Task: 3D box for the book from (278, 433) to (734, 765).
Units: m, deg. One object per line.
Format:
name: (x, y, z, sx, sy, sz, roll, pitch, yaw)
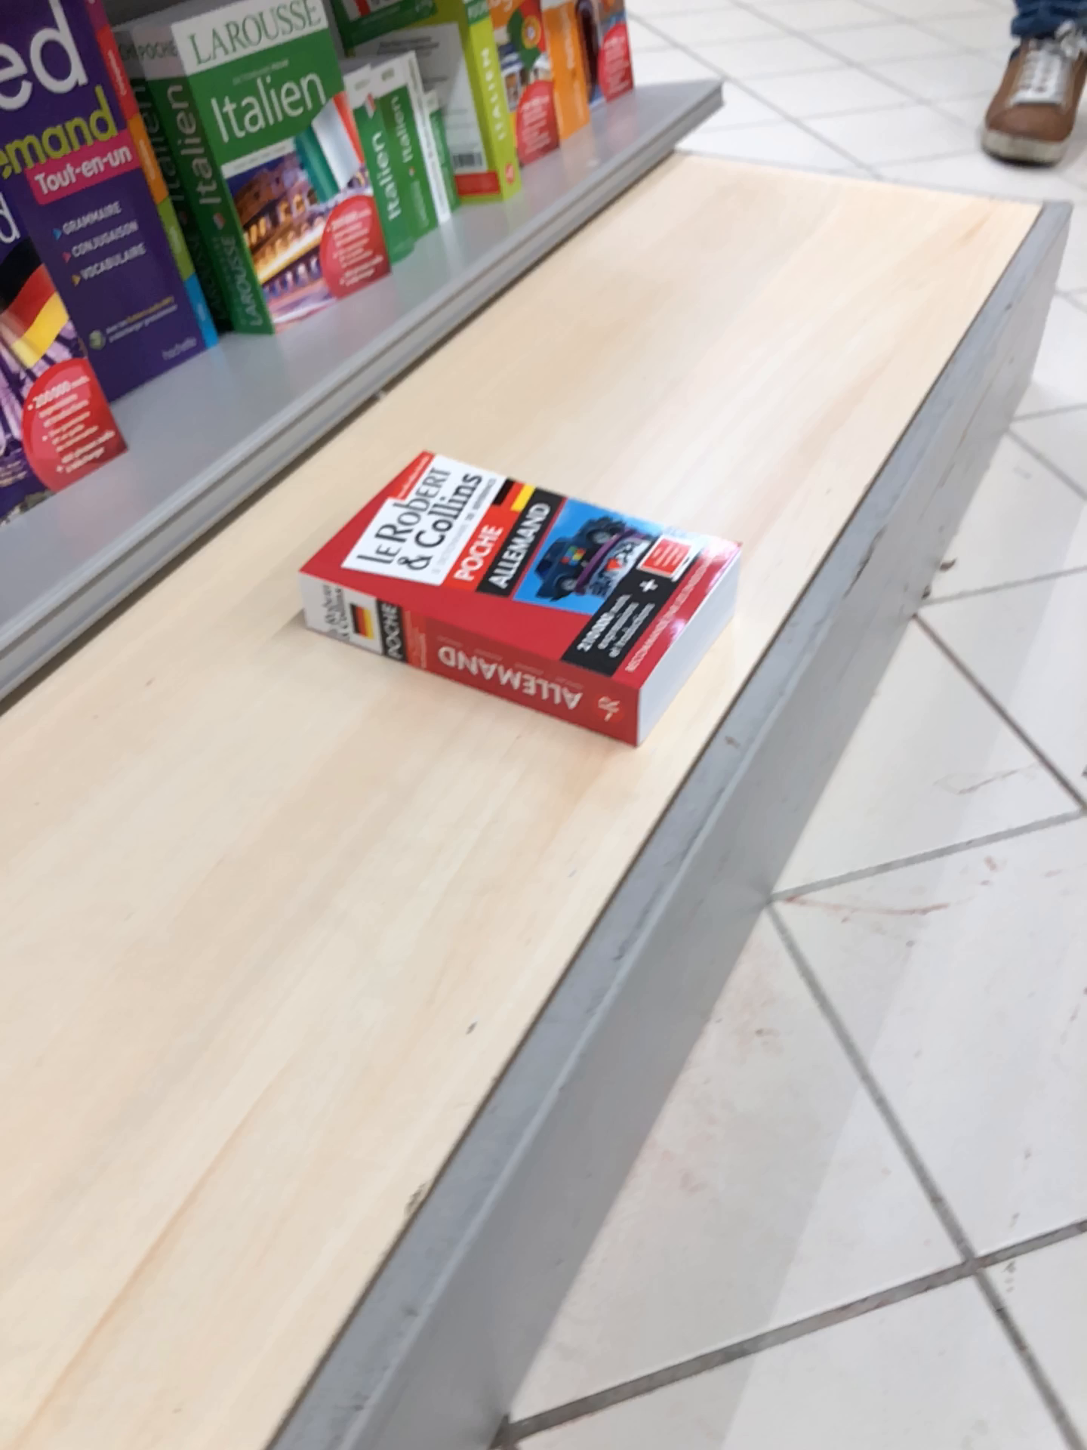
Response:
book: (-0.015, -0.064, 0.550, 0.170, 0.050, 0.111, 21, 50, 20)
